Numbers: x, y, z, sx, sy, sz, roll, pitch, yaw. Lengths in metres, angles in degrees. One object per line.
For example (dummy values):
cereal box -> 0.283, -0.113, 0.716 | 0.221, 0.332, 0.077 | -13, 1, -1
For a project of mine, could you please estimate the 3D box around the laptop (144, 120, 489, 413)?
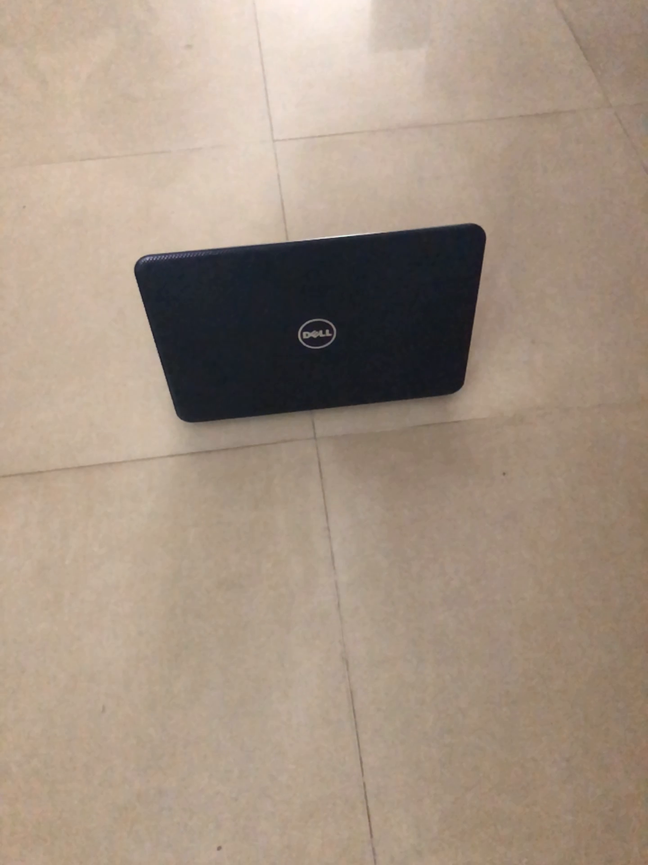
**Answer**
laptop -> -0.017, -0.203, 0.890 | 0.351, 0.227, 0.248 | -6, 57, -2
